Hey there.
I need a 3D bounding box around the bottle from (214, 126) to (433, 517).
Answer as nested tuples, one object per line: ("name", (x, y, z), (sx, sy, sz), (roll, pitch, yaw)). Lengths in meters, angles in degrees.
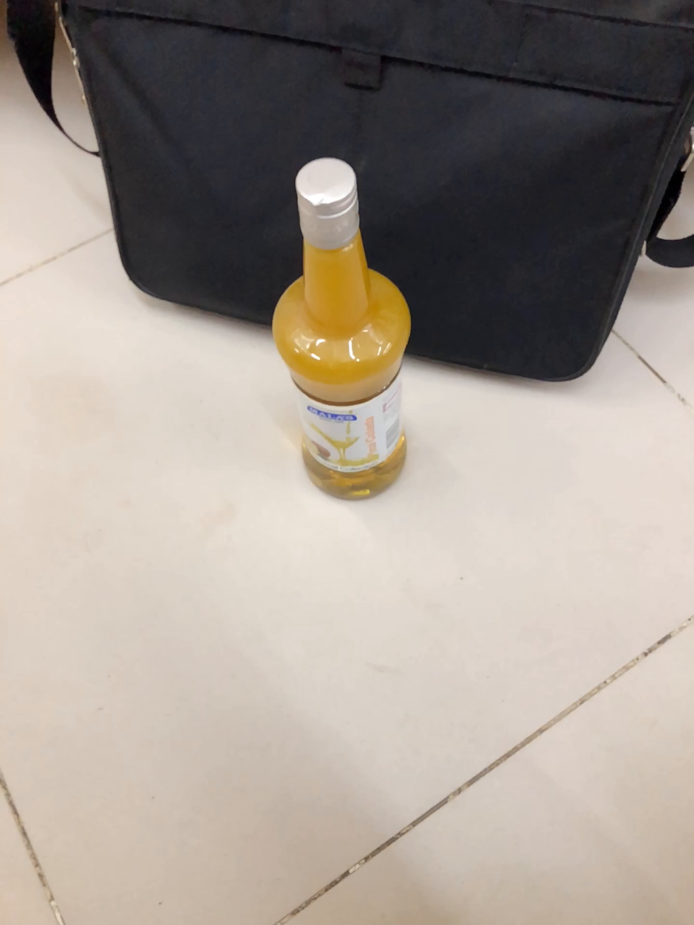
("bottle", (-0.002, -0.063, 0.493), (0.090, 0.289, 0.080), (8, 64, 7))
